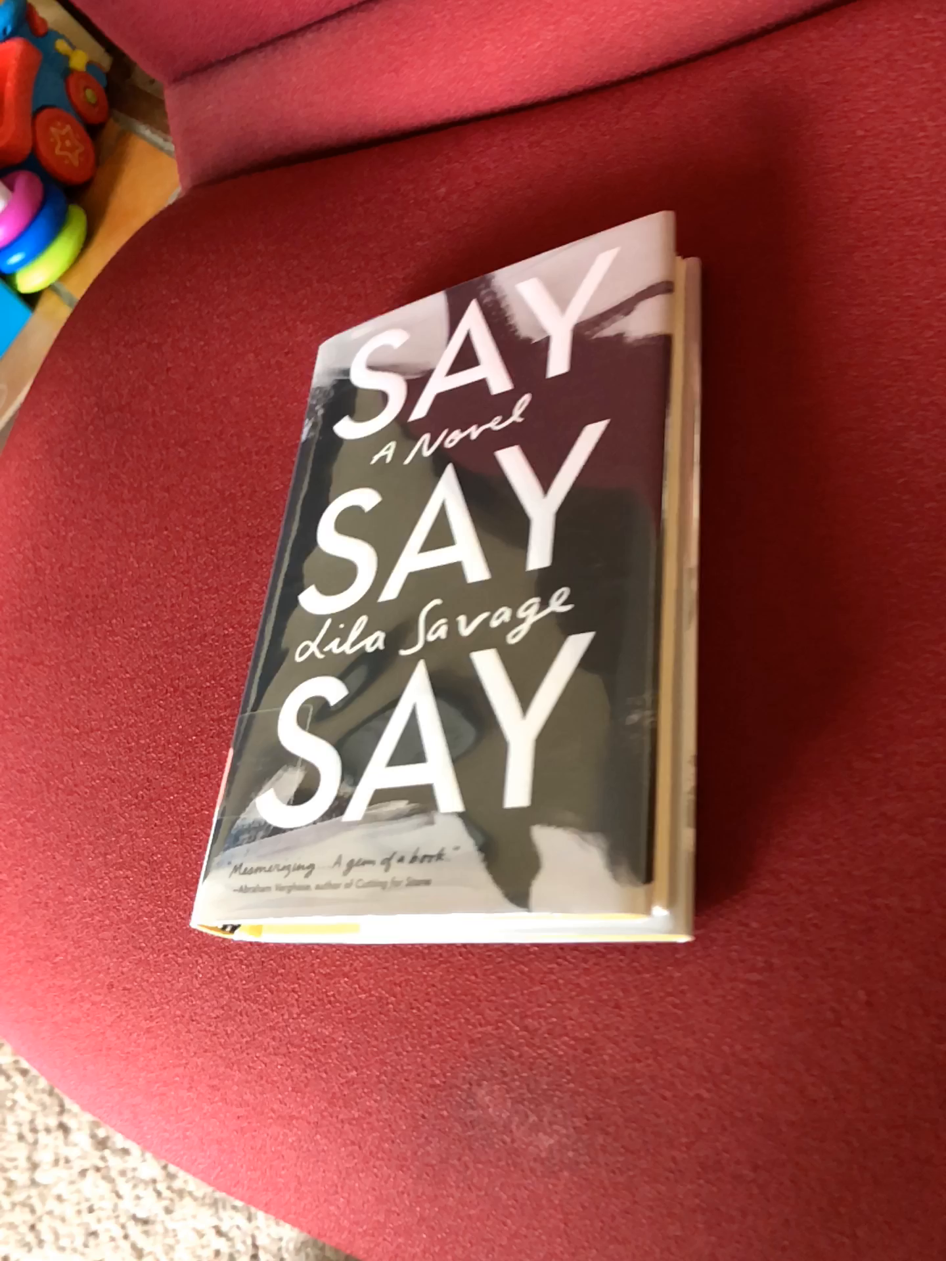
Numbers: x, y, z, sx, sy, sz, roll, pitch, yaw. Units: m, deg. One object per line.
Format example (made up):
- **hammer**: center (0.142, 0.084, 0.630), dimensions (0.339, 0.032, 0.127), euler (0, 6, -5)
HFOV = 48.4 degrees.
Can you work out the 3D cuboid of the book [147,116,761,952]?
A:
- **book**: center (-0.005, -0.022, 0.294), dimensions (0.151, 0.040, 0.210), euler (-10, 64, 30)
